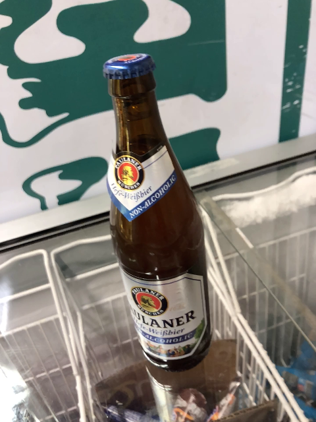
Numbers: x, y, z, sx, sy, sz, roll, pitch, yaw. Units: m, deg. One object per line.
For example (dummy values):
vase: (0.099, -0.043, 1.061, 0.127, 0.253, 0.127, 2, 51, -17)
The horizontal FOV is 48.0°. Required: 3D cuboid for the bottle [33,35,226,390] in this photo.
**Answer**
bottle: (0.001, 0.019, 0.242, 0.070, 0.238, 0.060, 9, 39, 24)
